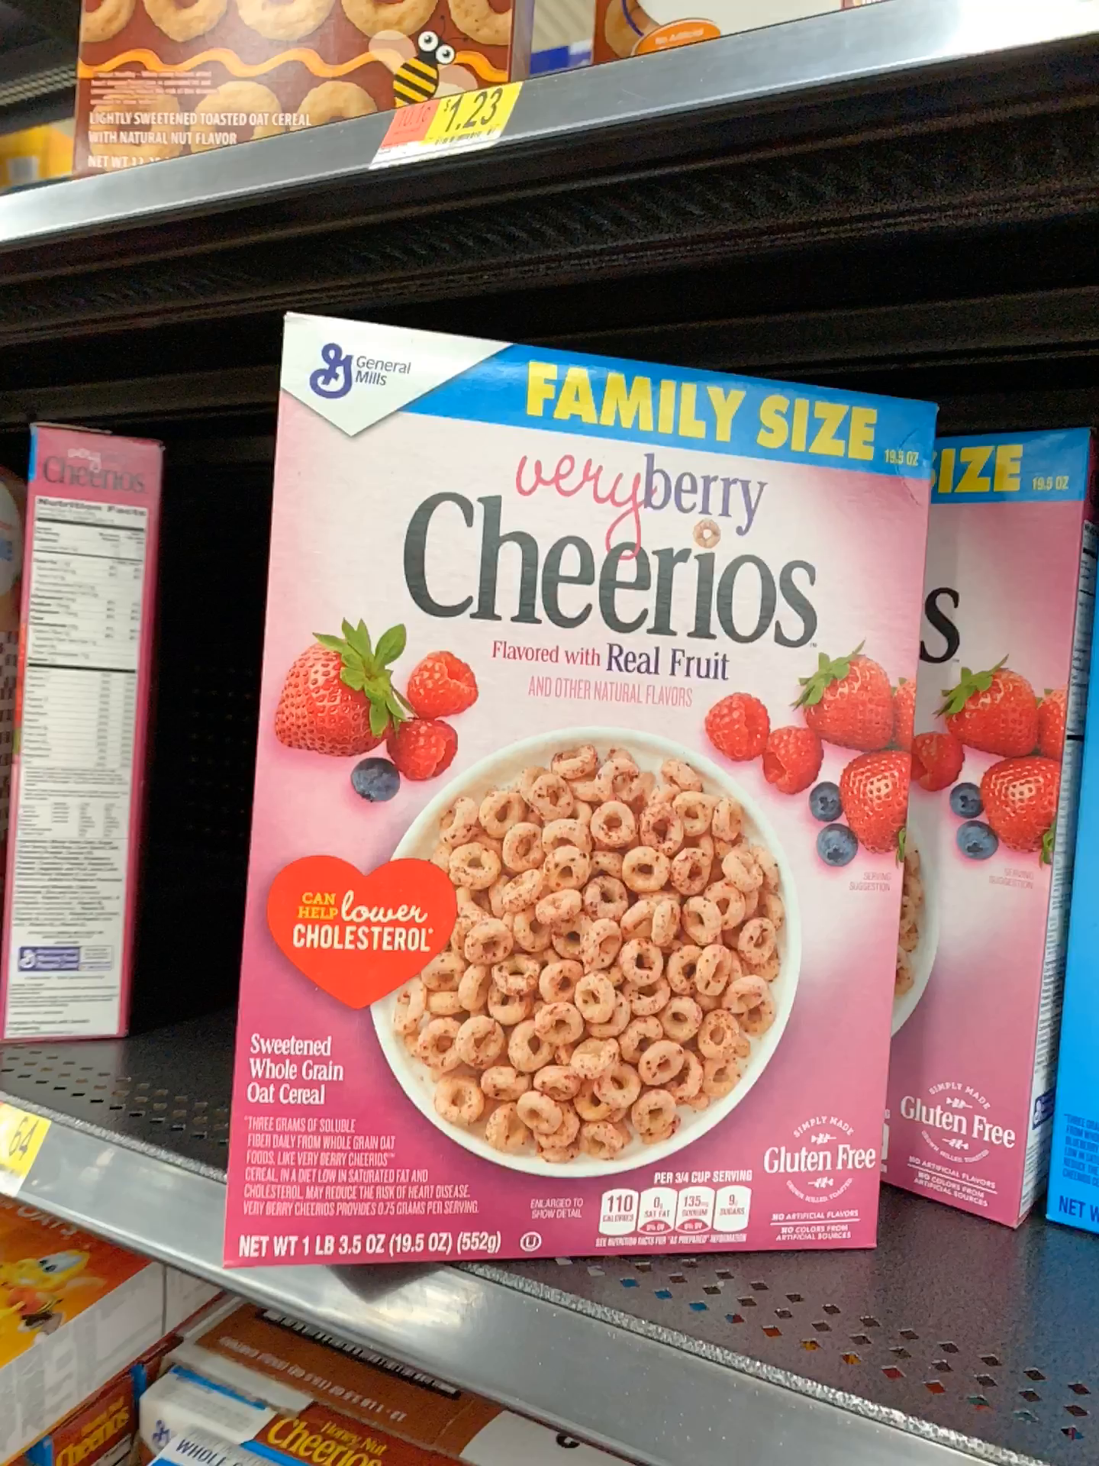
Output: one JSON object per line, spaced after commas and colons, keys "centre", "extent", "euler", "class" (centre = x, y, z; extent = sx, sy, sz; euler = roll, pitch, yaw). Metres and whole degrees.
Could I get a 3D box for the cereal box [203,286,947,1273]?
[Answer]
{"centre": [0.010, 0.022, 0.421], "extent": [0.240, 0.320, 0.060], "euler": [4, 0, -11], "class": "cereal box"}
